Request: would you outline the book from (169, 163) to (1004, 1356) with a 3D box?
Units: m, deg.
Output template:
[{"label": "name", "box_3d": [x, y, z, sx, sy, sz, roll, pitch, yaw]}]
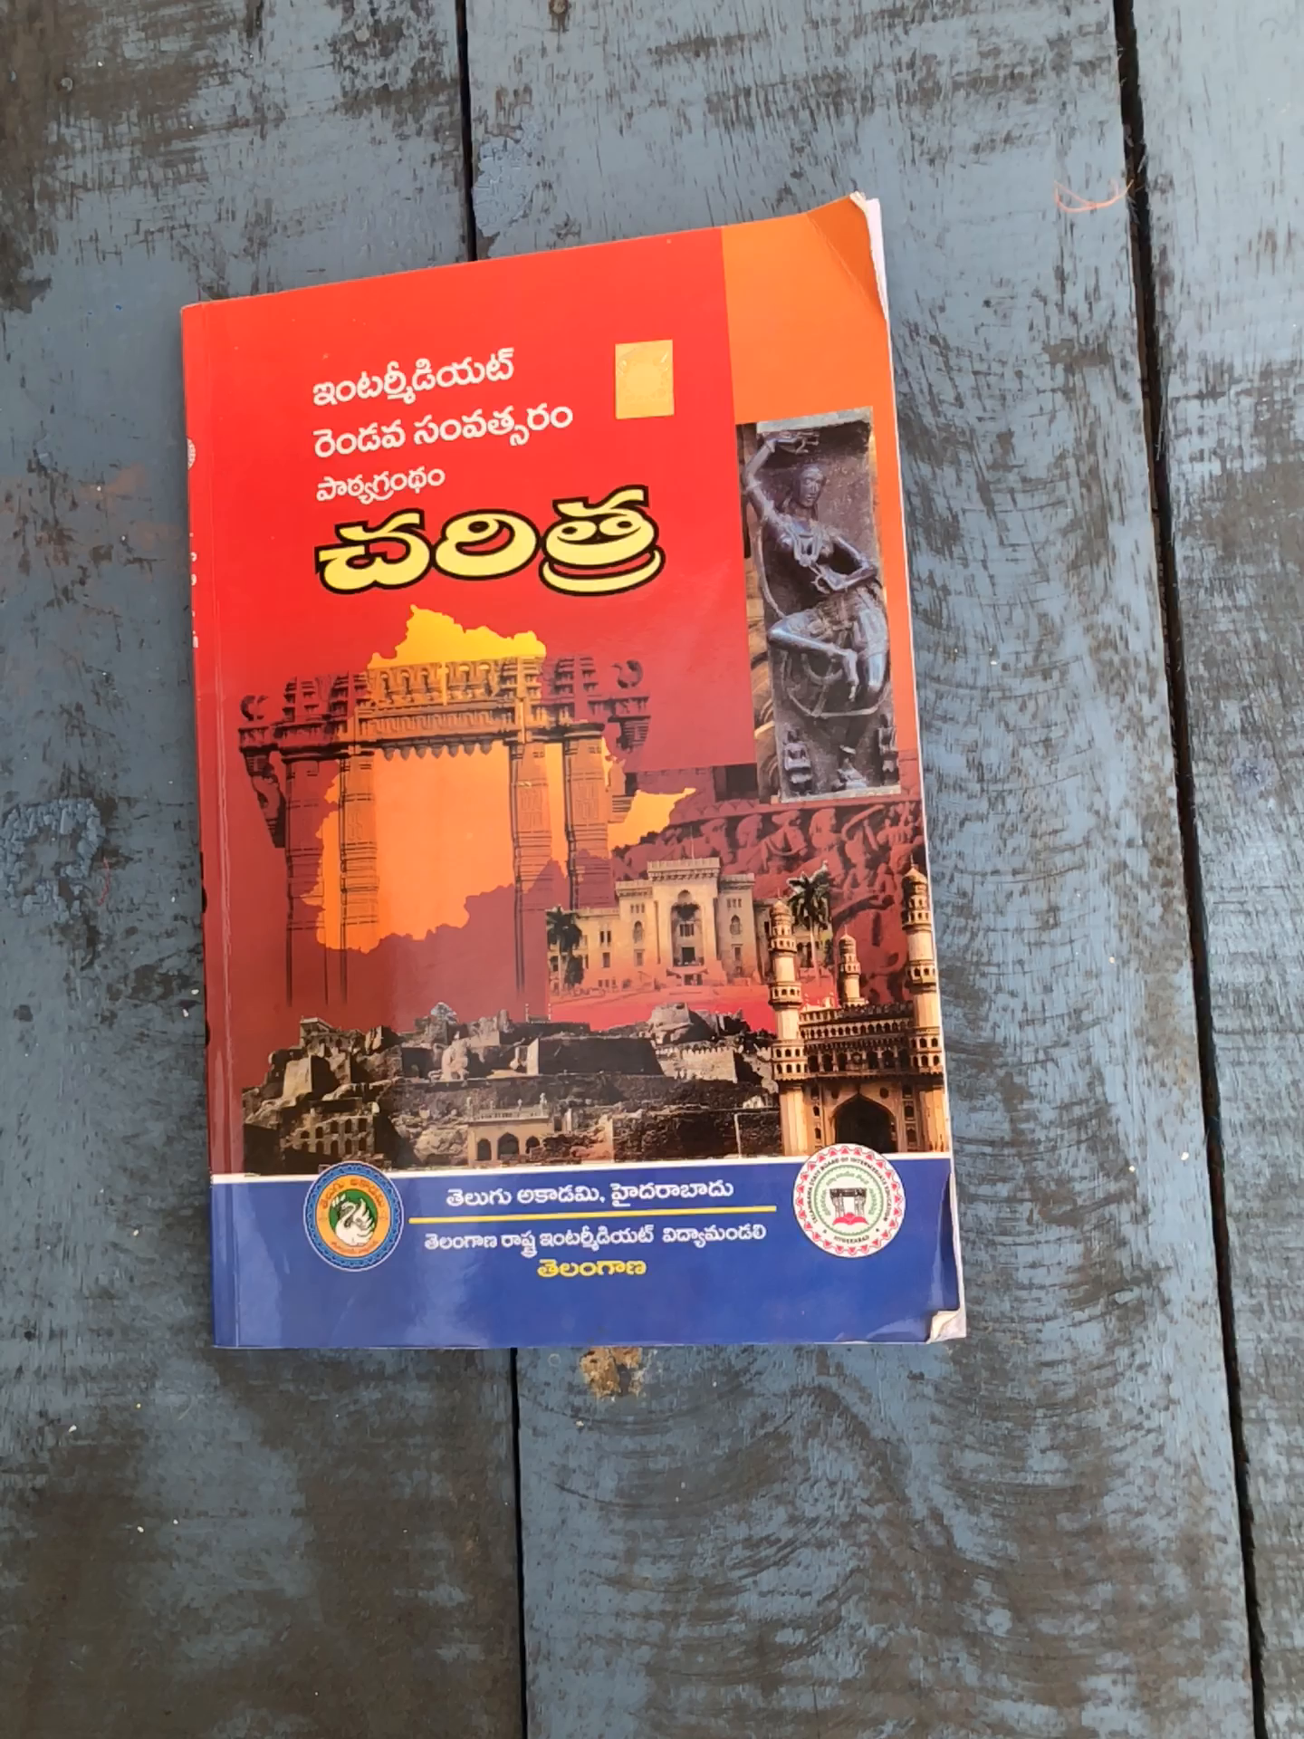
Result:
[{"label": "book", "box_3d": [-0.021, -0.024, 0.357, 0.190, 0.040, 0.270, -3, 84, 9]}]
